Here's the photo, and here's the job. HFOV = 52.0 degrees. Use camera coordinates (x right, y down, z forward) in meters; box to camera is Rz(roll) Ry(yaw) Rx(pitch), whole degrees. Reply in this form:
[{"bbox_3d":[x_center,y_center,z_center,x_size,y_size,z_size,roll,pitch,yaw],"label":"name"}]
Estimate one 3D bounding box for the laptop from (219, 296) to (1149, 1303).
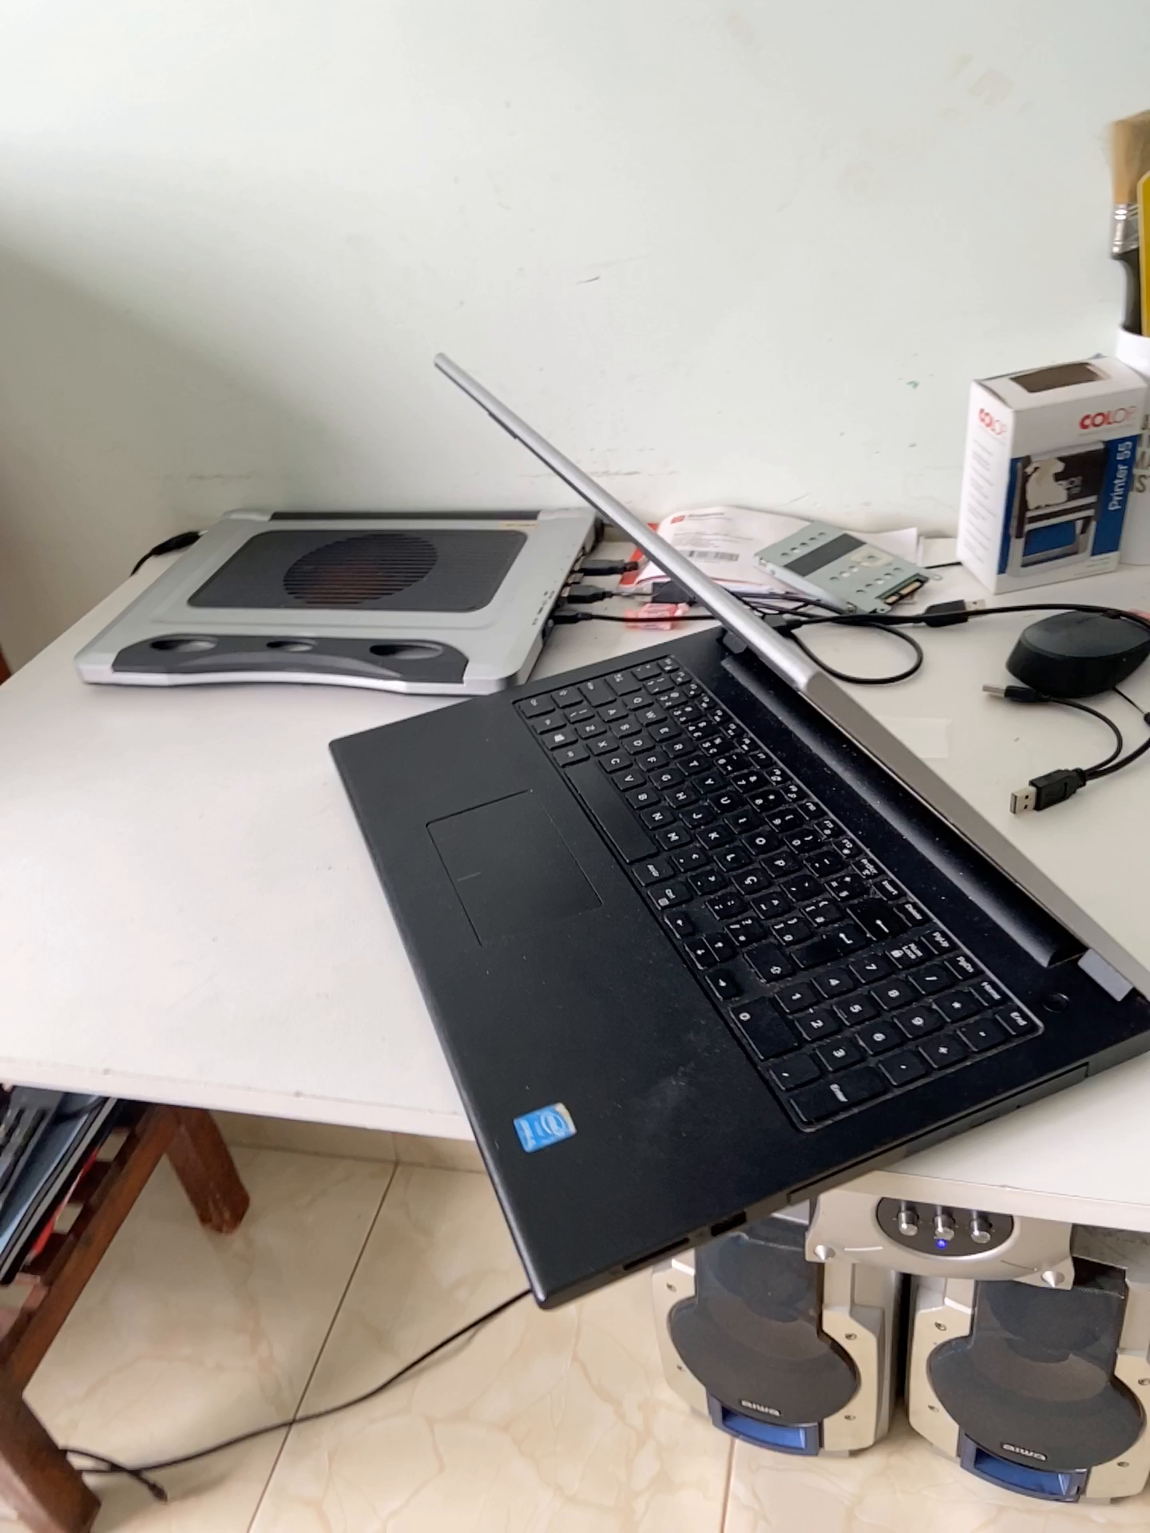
[{"bbox_3d":[0.027,-0.036,0.517,0.257,0.204,0.376,-18,36,-14],"label":"laptop"}]
